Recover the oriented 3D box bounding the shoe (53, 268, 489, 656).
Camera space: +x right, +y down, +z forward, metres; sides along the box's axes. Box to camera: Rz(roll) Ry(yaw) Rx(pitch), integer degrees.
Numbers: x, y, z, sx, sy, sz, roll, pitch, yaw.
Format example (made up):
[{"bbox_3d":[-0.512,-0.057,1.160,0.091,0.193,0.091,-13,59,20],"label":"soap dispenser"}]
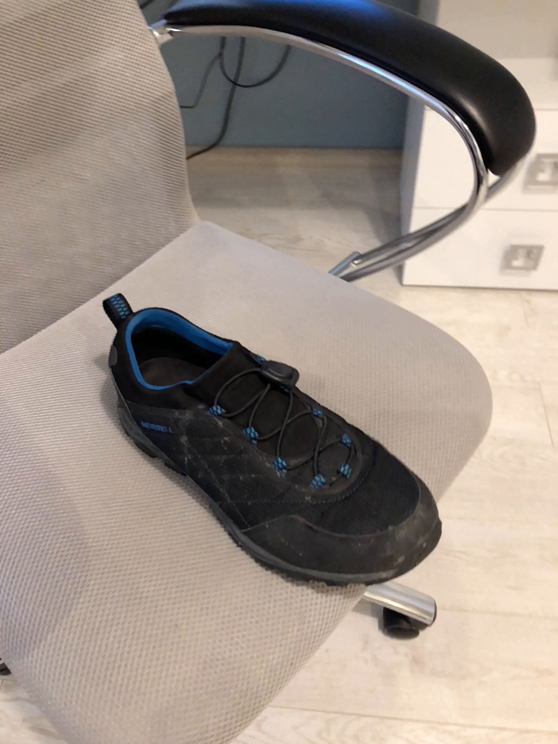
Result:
[{"bbox_3d":[-0.016,0.053,0.479,0.301,0.109,0.129,31,57,26],"label":"shoe"}]
